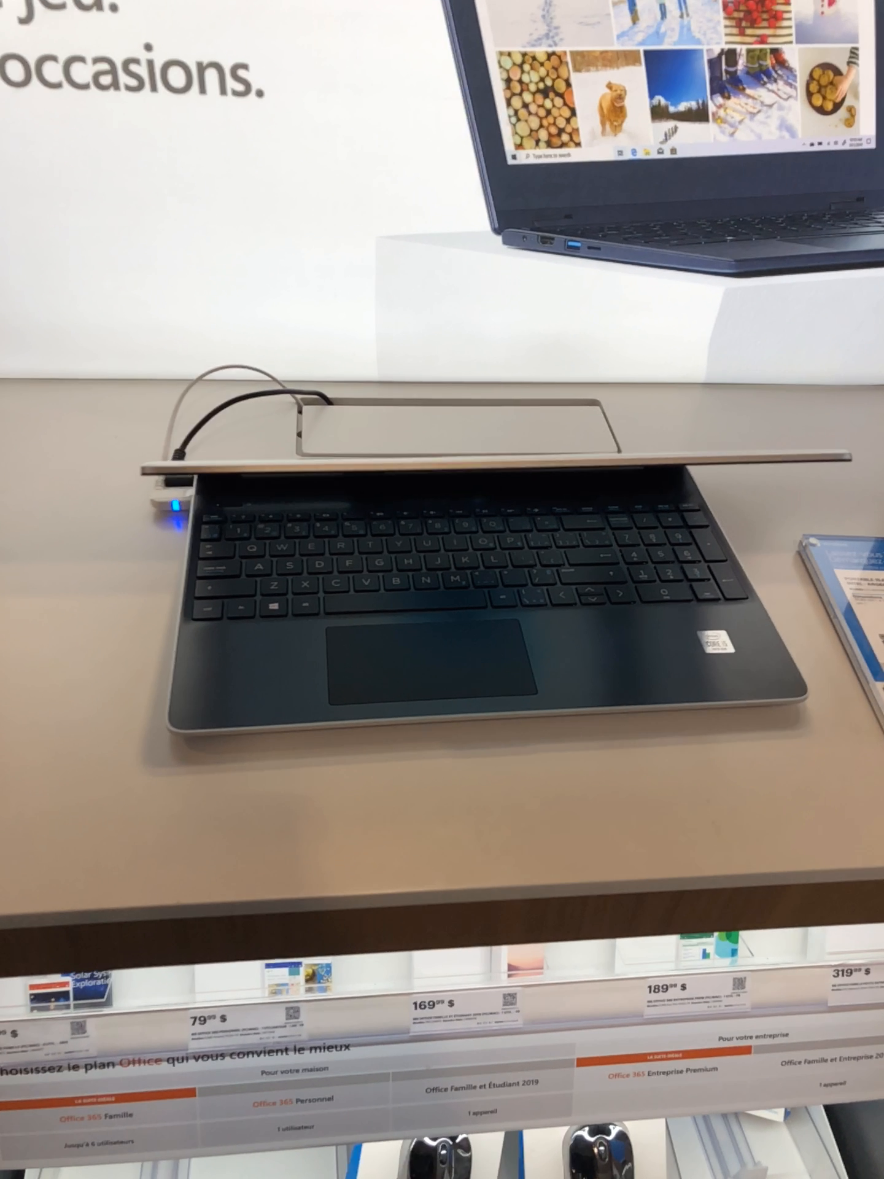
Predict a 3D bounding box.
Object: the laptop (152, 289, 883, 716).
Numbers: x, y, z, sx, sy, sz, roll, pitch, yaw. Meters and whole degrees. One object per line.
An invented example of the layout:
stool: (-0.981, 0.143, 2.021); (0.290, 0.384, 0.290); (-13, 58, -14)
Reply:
laptop: (0.026, -0.066, 0.573); (0.345, 0.131, 0.230); (-2, 41, -7)
